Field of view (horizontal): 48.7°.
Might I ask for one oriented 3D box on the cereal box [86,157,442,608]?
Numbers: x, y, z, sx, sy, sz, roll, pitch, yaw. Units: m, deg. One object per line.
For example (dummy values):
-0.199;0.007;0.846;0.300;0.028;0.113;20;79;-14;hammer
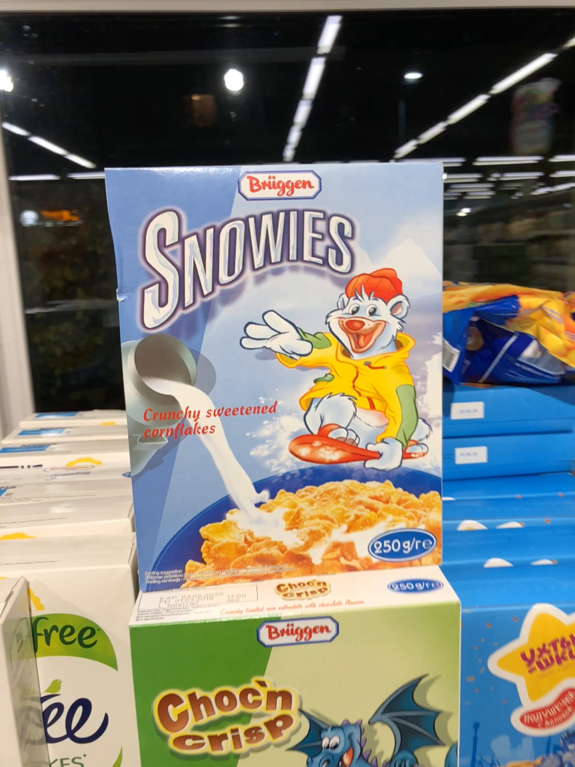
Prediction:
-0.009;-0.003;0.411;0.200;0.259;0.070;-4;10;-6;cereal box
